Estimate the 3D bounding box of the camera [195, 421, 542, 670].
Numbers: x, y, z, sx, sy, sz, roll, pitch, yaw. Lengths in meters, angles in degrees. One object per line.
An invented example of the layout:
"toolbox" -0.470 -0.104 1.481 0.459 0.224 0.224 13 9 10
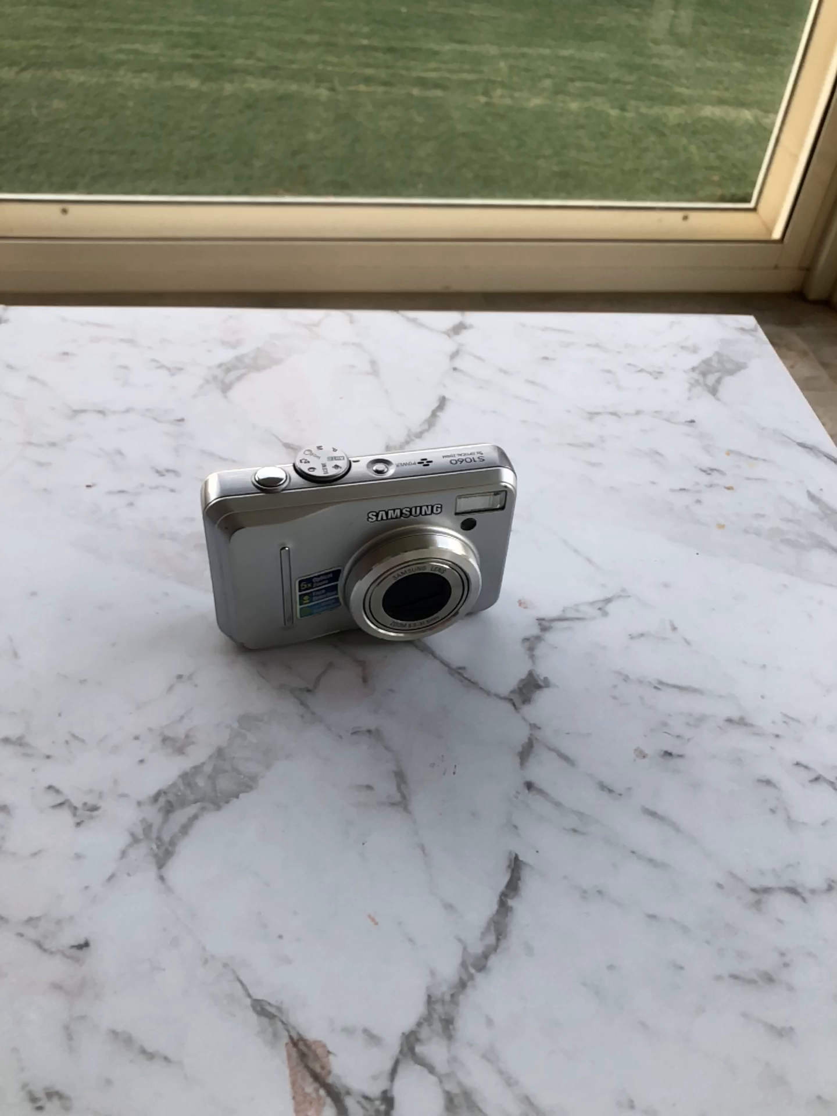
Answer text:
"camera" -0.017 -0.004 0.299 0.099 0.061 0.034 -7 45 -12
